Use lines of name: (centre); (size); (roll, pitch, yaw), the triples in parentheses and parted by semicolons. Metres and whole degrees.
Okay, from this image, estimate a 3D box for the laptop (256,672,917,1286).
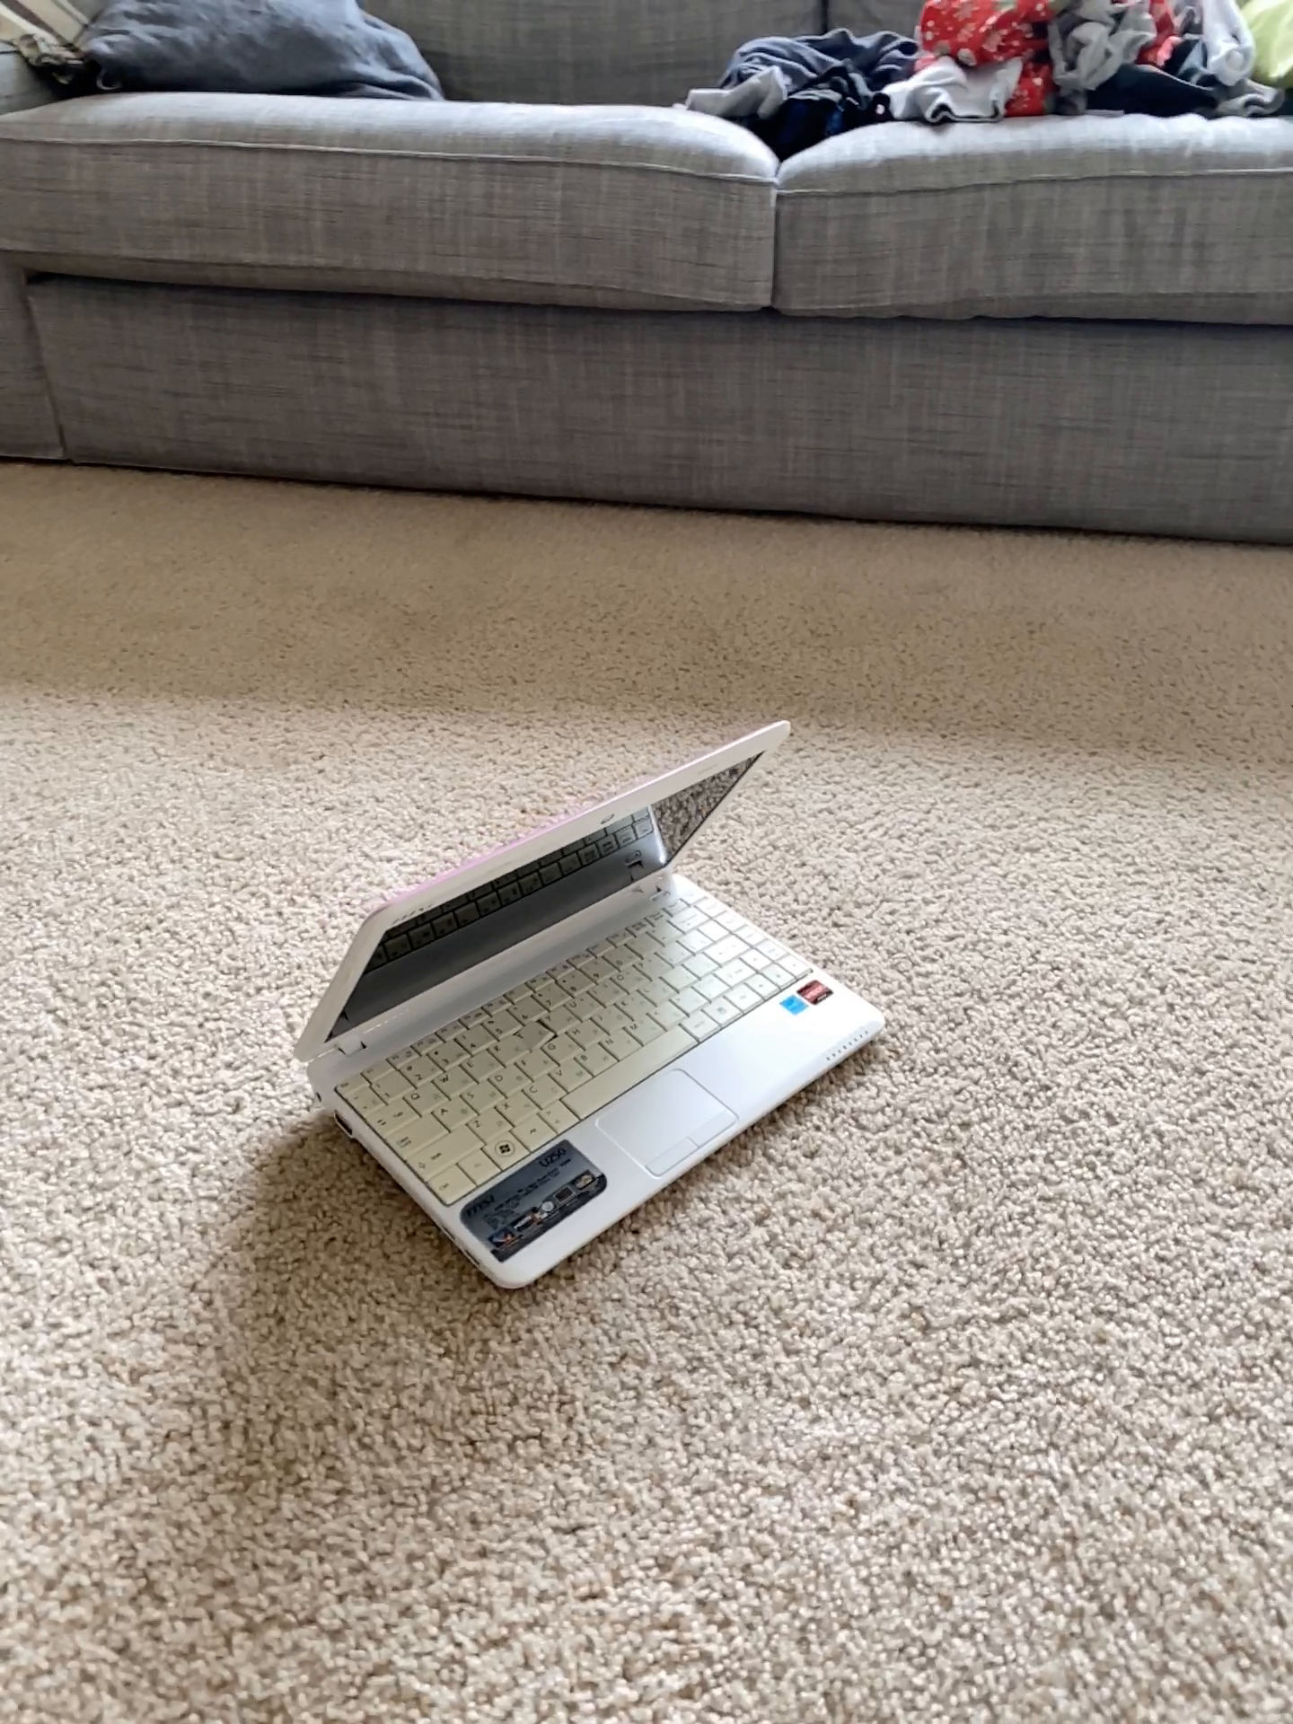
laptop: (-0.023, 0.041, 0.716); (0.286, 0.147, 0.188); (-27, 44, -35)
